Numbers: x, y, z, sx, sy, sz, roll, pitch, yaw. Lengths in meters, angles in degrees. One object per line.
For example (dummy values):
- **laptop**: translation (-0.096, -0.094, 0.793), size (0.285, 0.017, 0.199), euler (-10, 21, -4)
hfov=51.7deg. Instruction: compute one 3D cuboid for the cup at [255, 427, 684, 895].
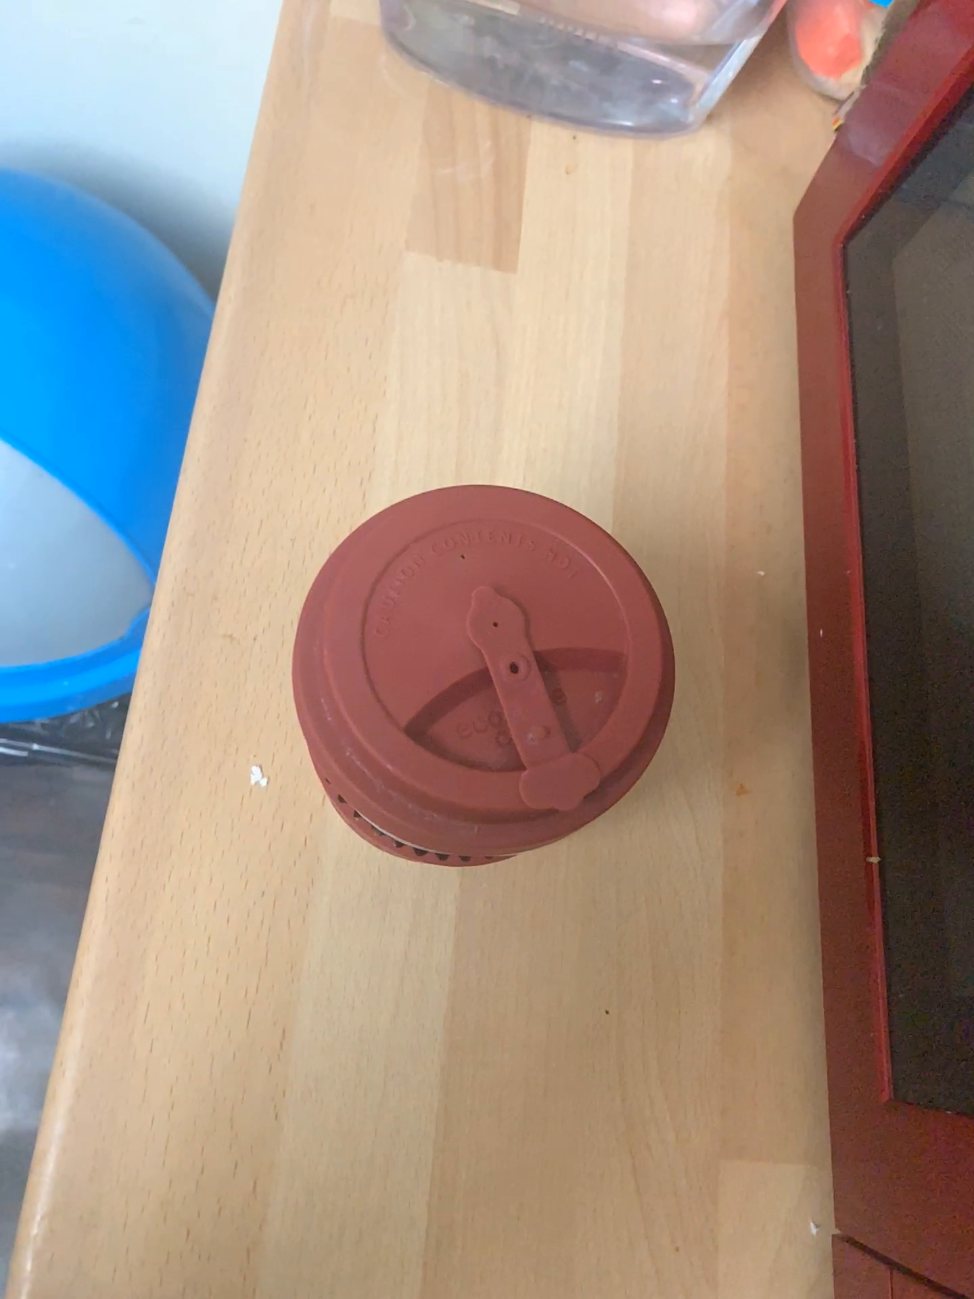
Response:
- **cup**: translation (-0.011, 0.014, 0.267), size (0.086, 0.116, 0.087), euler (3, 72, -10)
